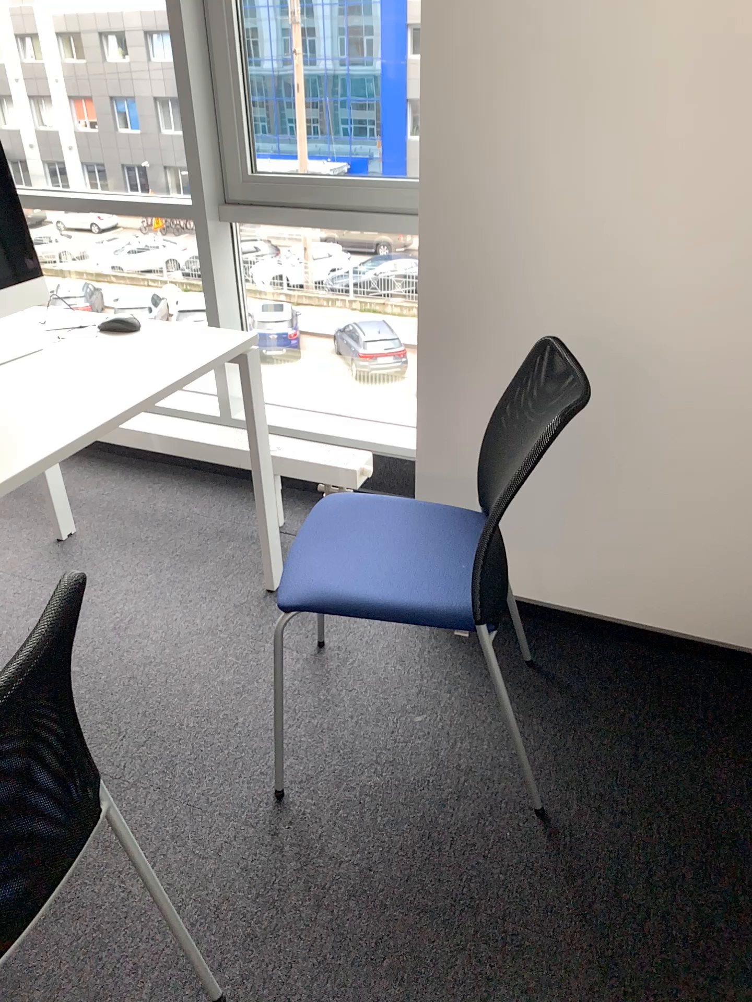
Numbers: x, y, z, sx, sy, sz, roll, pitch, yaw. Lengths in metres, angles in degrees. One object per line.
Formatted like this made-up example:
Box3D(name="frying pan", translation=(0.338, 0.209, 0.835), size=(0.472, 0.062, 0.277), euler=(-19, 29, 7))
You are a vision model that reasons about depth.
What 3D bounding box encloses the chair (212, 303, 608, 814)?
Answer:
Box3D(name="chair", translation=(0.073, 0.113, 1.600), size=(0.590, 0.895, 0.533), euler=(2, 31, 5))
